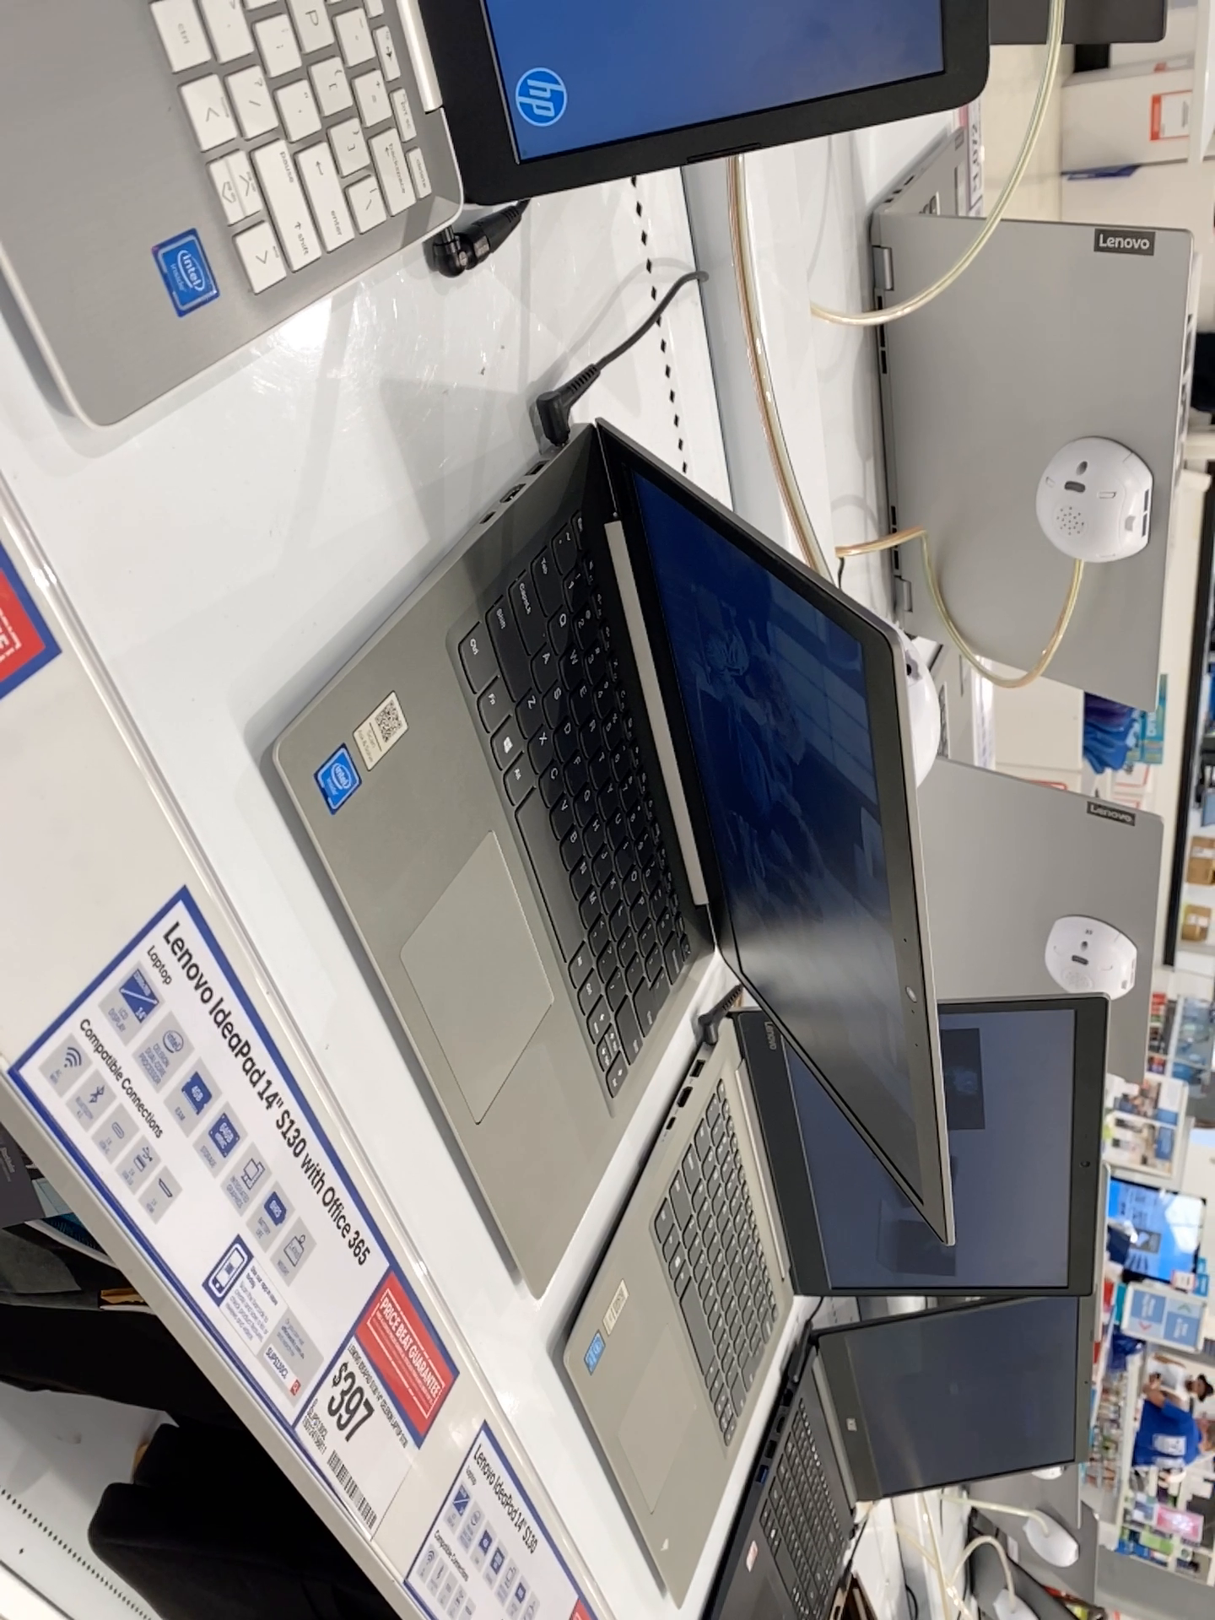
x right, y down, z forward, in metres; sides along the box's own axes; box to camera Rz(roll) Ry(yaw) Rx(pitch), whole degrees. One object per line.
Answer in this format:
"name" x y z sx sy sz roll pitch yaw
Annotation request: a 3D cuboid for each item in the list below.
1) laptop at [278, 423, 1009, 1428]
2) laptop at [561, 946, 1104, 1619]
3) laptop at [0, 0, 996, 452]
"laptop" 0.056 0.045 0.523 0.231 0.170 0.331 -57 144 -41
"laptop" 0.170 0.320 0.780 0.310 0.215 0.330 -56 143 -42
"laptop" -0.030 -0.294 0.283 0.285 0.155 0.305 -54 141 -41
